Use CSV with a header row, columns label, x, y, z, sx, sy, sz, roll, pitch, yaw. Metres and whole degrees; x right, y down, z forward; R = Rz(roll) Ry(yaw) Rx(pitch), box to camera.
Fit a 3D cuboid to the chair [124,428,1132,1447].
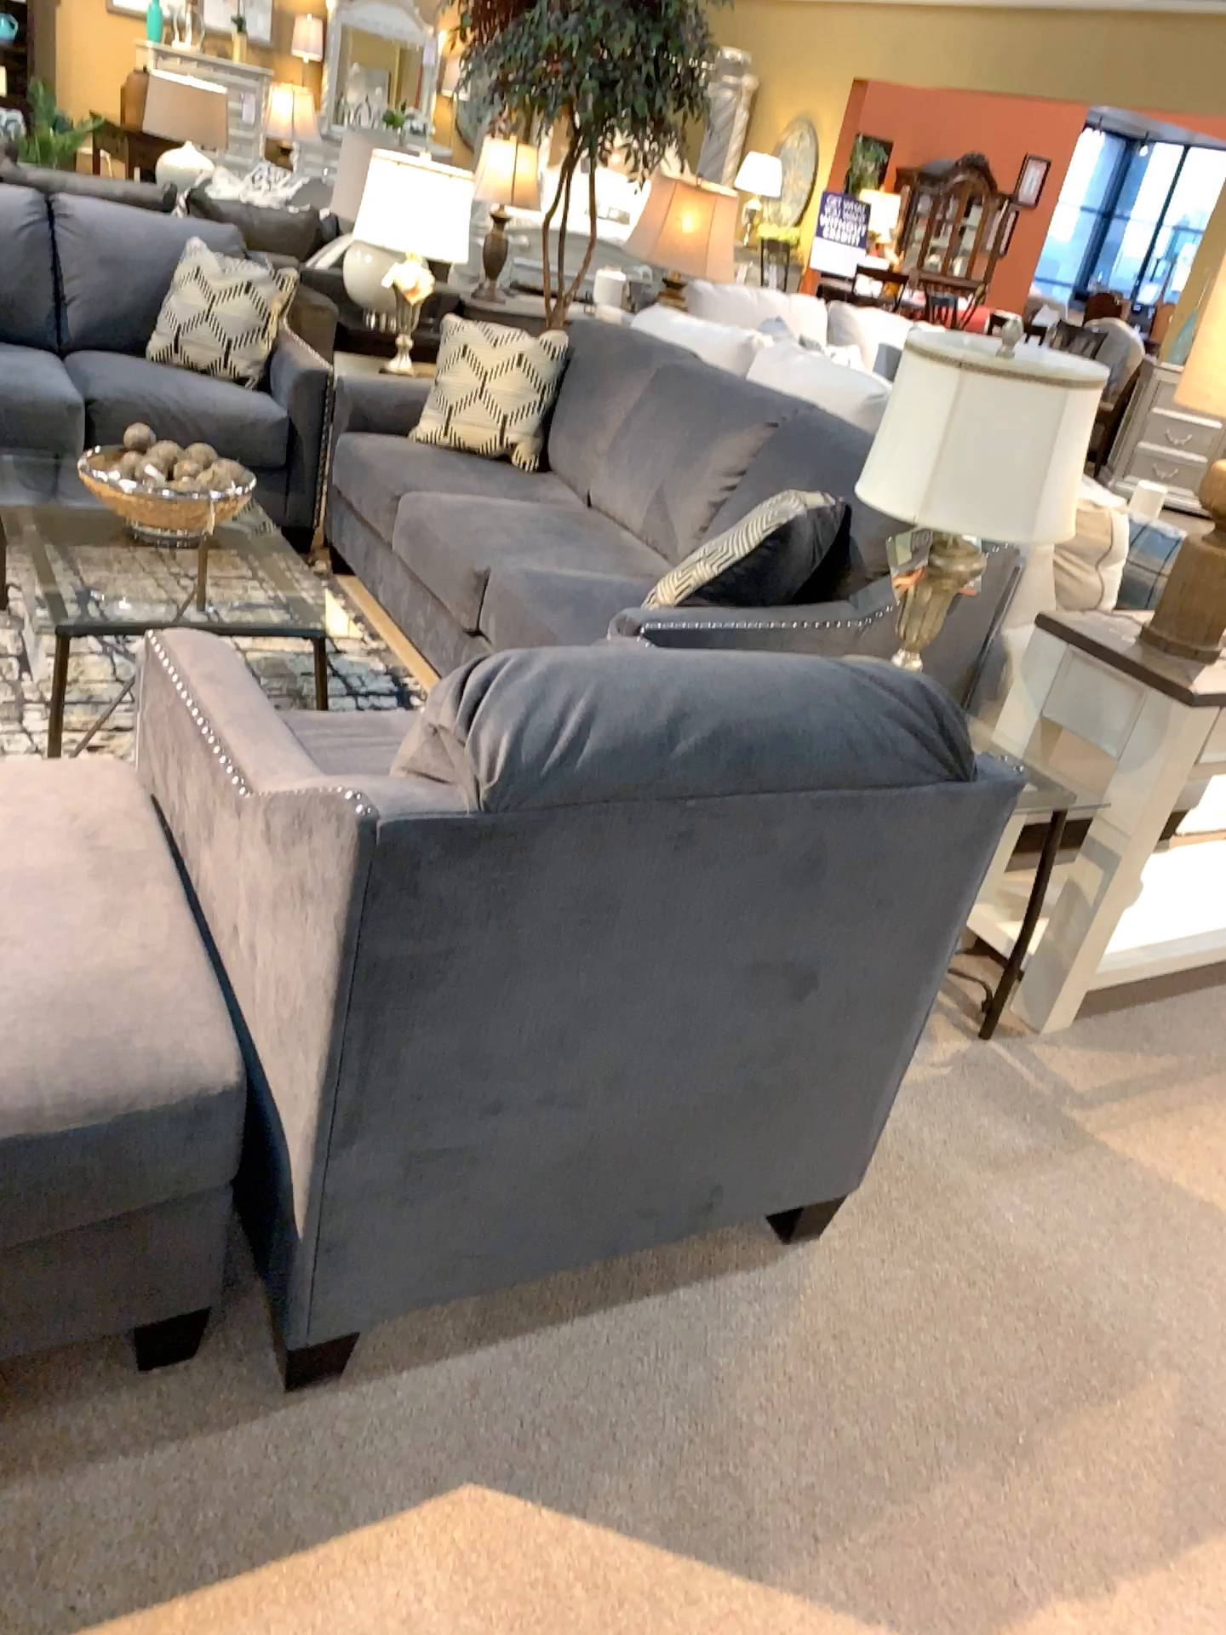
label,x,y,z,sx,sy,sz,roll,pitch,yaw
chair,-0.106,0.045,1.742,0.921,0.840,0.960,-4,32,-30
